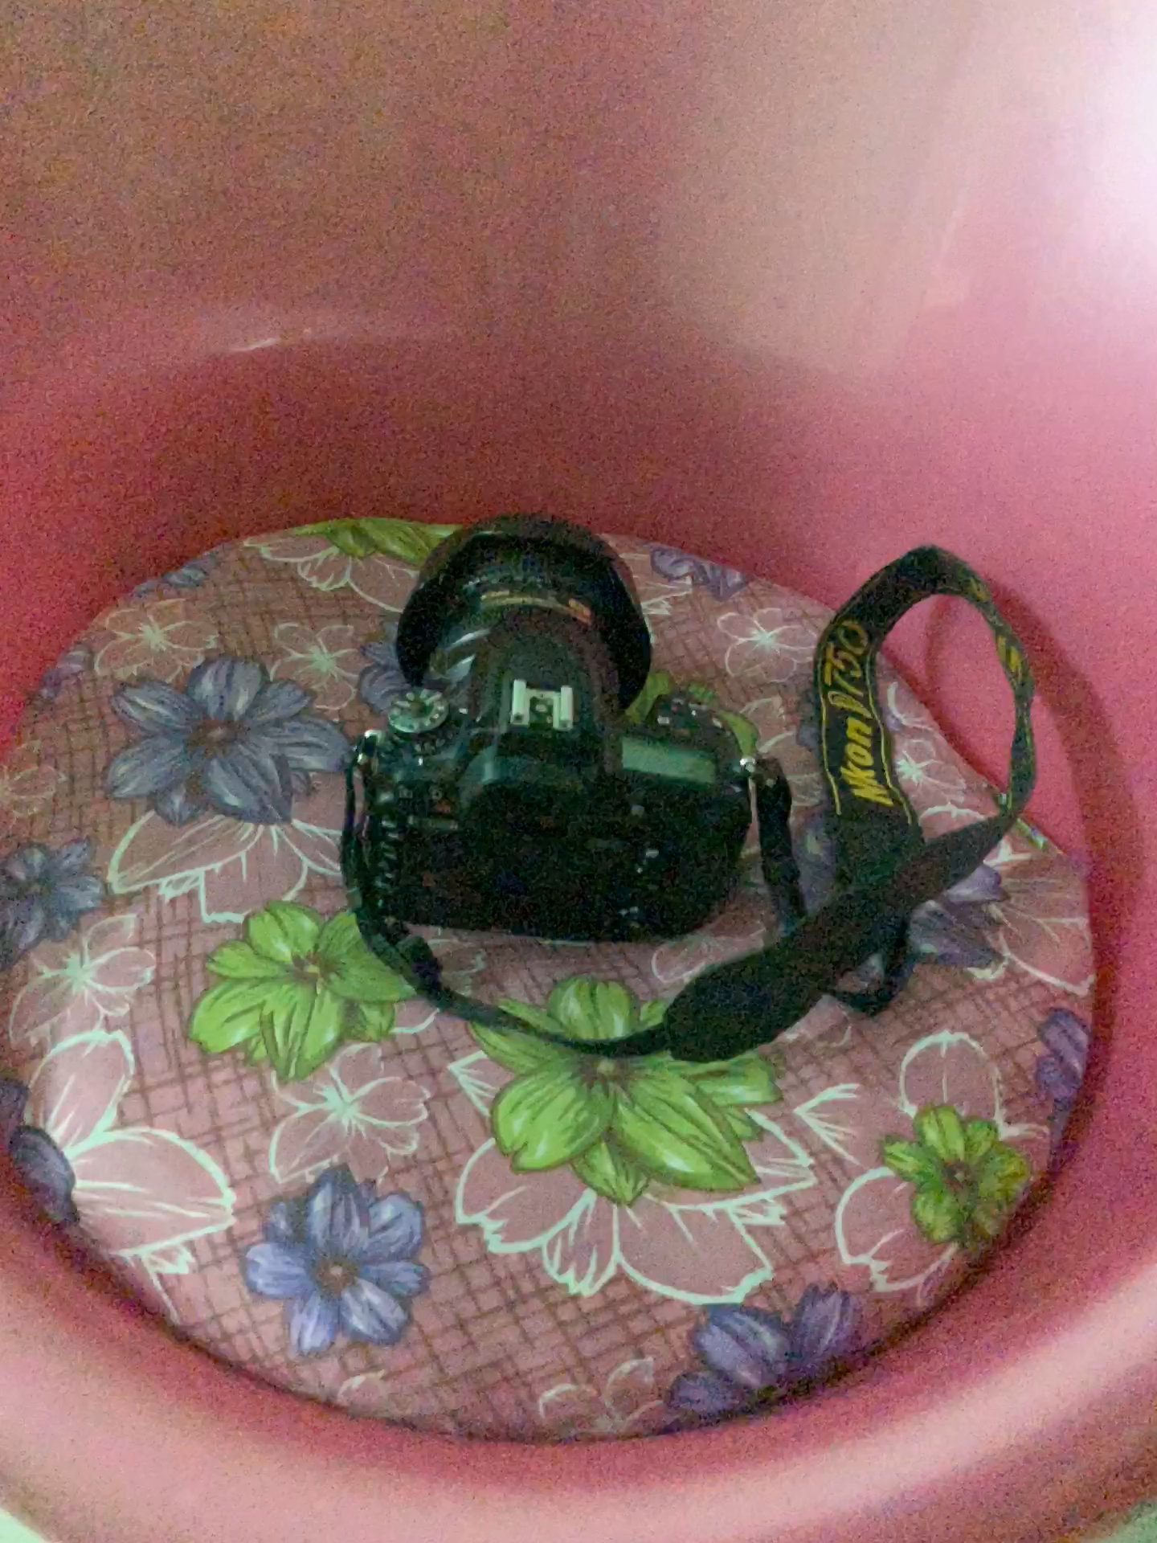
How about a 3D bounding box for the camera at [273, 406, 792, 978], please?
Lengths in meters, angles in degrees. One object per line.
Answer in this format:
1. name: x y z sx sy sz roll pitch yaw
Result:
1. camera: -0.017 -0.036 0.489 0.166 0.130 0.192 3 49 -3
